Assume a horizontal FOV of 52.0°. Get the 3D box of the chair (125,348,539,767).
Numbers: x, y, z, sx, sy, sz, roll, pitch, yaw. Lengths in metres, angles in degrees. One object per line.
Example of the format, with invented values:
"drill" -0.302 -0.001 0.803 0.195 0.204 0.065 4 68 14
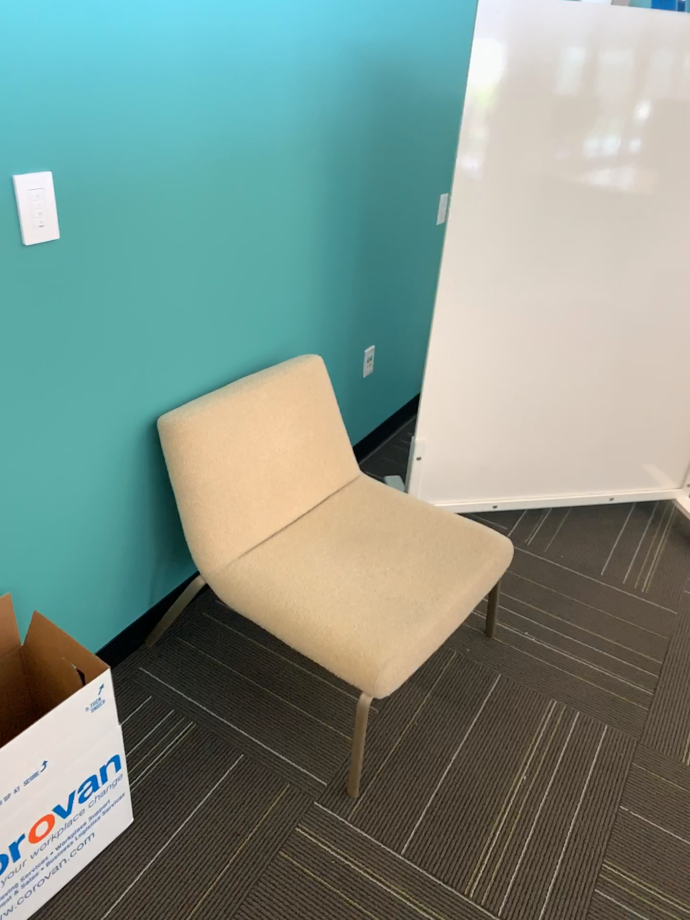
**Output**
"chair" -0.033 0.175 1.819 0.732 0.567 0.662 24 37 28
